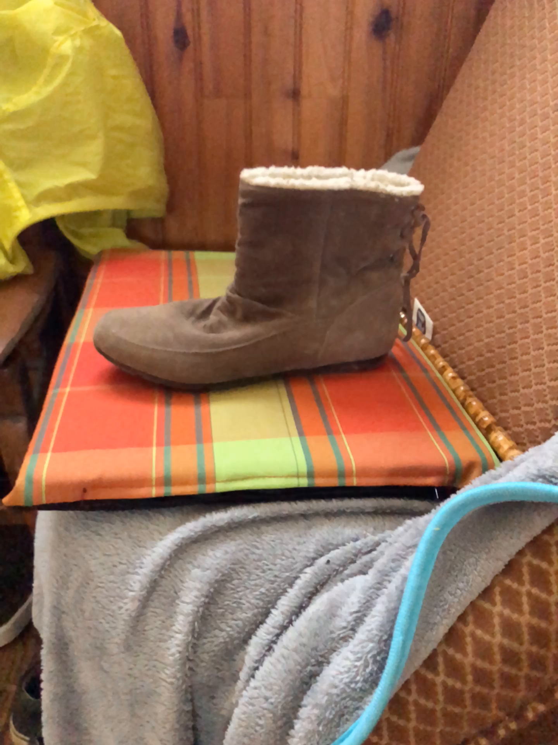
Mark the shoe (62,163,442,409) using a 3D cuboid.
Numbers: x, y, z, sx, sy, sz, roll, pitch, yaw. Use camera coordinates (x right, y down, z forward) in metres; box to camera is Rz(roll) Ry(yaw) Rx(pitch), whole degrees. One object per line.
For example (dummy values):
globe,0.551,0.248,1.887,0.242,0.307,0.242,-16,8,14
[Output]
shoe,-0.021,-0.076,0.499,0.260,0.159,0.100,-4,27,-10
